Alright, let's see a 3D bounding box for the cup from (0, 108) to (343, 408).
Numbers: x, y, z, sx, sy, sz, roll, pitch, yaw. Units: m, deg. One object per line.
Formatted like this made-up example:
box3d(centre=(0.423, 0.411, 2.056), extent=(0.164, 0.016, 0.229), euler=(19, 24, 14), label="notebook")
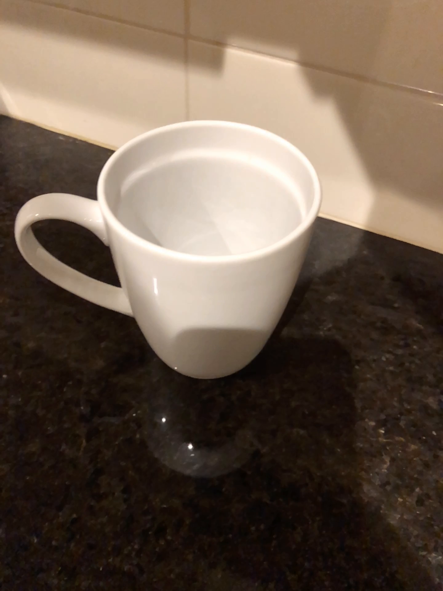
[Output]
box3d(centre=(-0.025, -0.015, 0.225), extent=(0.130, 0.090, 0.090), euler=(4, 50, 0), label="cup")
